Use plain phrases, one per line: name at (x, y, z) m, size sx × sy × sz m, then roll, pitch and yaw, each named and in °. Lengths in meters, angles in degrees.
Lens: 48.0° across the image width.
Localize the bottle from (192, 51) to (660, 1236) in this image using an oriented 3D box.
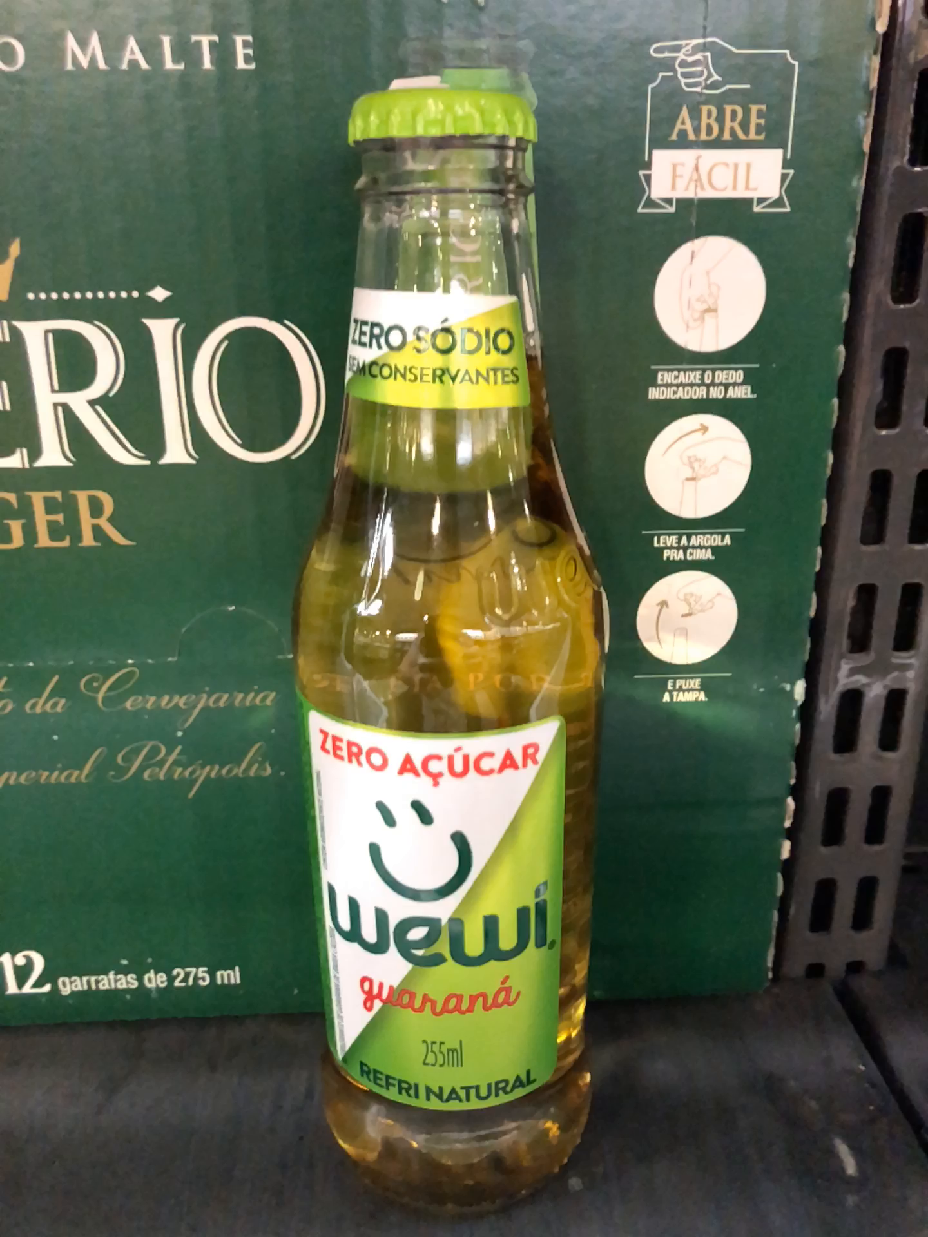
bottle at (0.000, 0.014, 0.188) m, size 0.060 × 0.199 × 0.050 m, roll 3°, pitch 21°, yaw 10°
